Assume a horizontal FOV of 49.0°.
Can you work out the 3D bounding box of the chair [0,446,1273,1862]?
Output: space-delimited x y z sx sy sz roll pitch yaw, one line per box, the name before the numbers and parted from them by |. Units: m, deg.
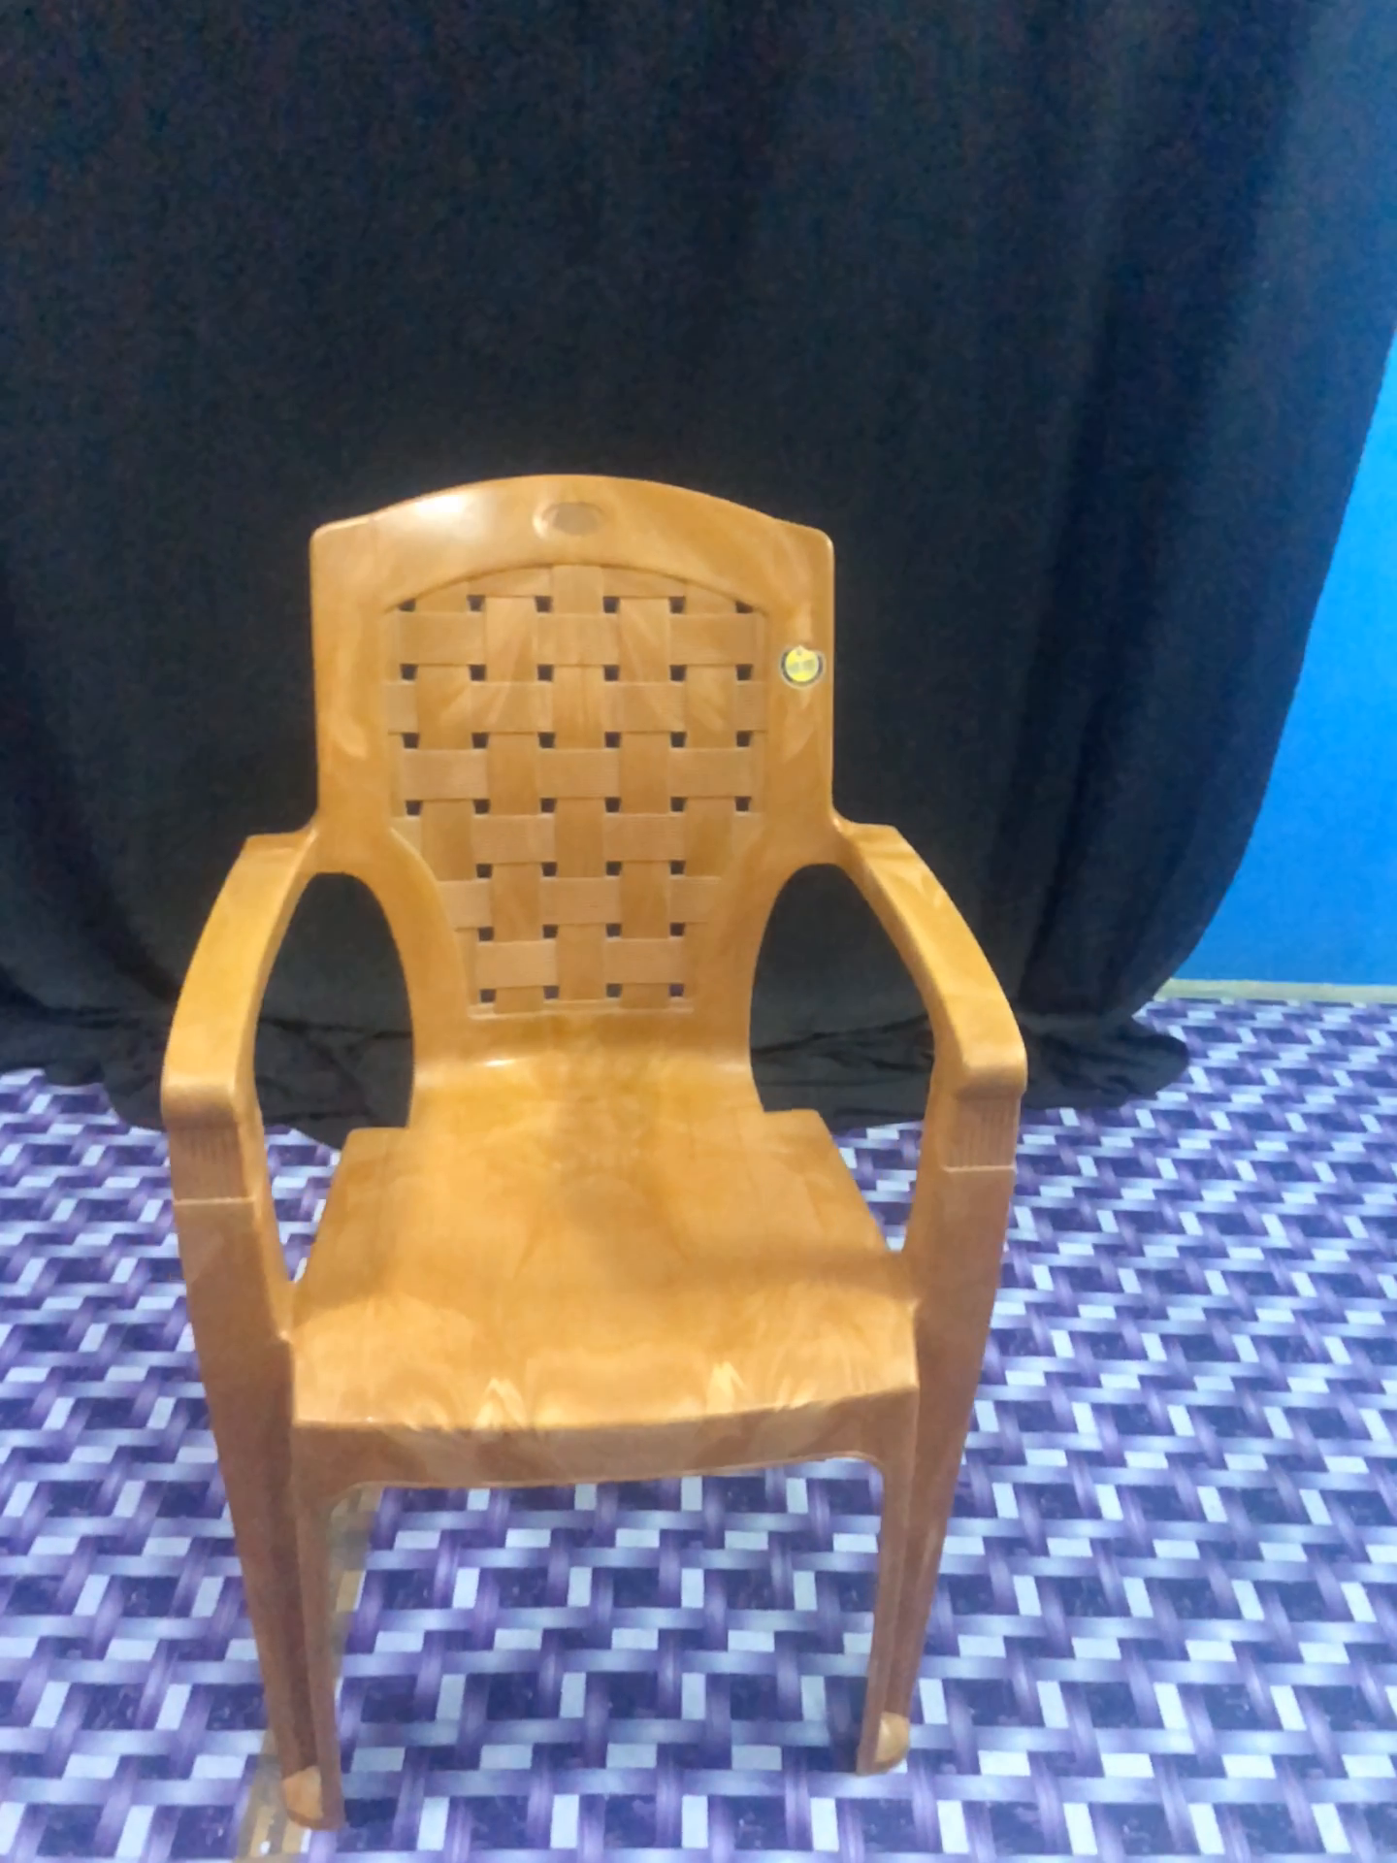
chair | -0.080 0.118 1.152 0.600 0.786 0.663 0 29 -6
